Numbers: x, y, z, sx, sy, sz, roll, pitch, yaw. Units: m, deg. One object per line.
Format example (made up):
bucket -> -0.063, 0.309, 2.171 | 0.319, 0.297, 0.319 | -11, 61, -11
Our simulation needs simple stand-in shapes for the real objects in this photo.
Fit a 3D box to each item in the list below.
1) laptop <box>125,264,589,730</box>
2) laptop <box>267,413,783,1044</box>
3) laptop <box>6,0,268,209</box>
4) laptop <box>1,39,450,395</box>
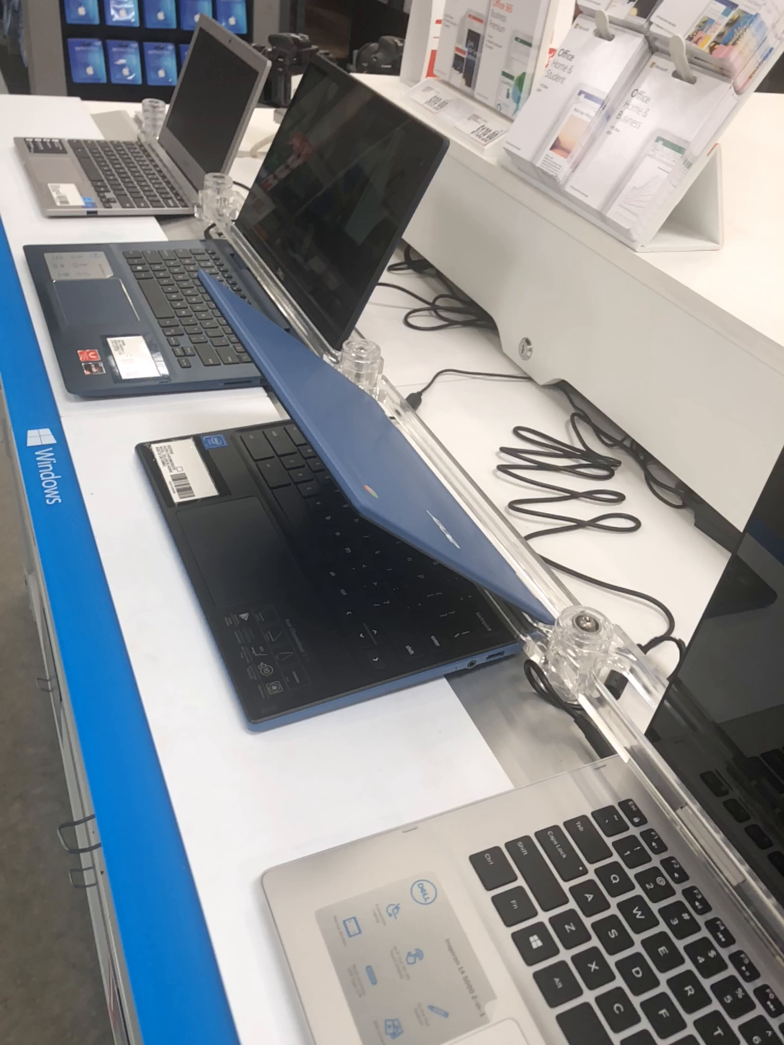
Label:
laptop -> -0.045, -0.042, 0.558 | 0.186, 0.128, 0.281 | -12, 42, -23
laptop -> 0.113, 0.147, 0.272 | 0.221, 0.211, 0.297 | -10, 41, -21
laptop -> -0.340, -0.552, 1.131 | 0.258, 0.172, 0.306 | -8, 40, -21
laptop -> -0.172, -0.308, 0.822 | 0.319, 0.196, 0.326 | -11, 42, -23
